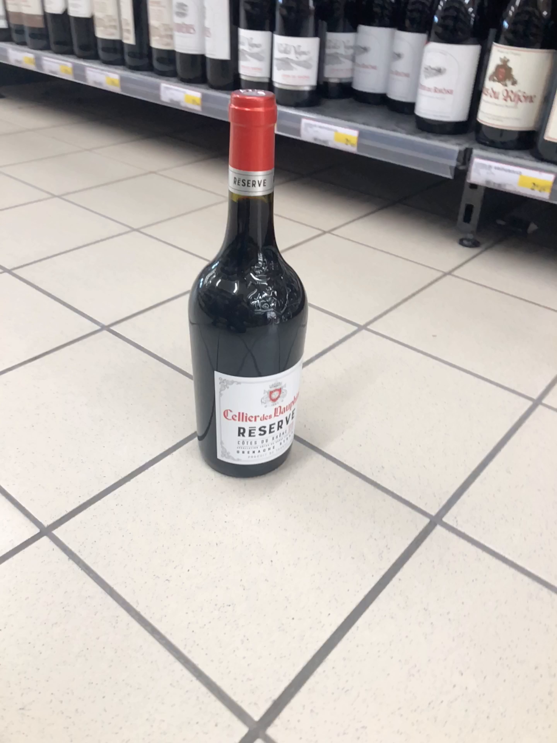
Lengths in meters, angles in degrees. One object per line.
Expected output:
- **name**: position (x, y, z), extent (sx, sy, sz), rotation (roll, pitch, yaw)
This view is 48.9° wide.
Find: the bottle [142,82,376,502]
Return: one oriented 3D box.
- **bottle**: position (-0.021, -0.052, 0.442), extent (0.110, 0.268, 0.100), rotation (2, 33, -1)
